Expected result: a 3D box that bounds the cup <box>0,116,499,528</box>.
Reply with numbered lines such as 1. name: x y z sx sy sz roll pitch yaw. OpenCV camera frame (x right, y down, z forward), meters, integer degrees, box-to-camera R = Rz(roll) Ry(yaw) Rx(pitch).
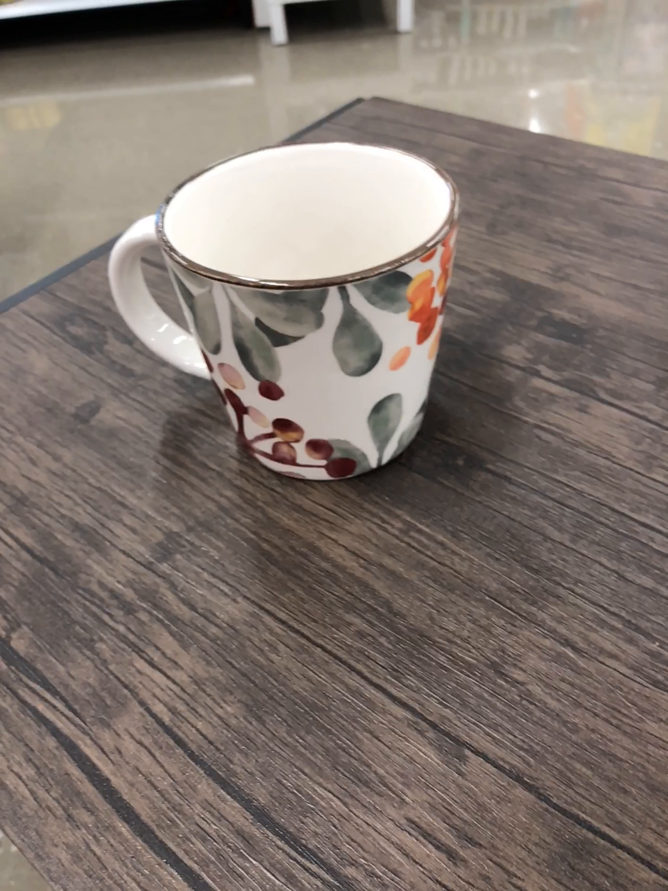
1. cup: -0.021 -0.053 0.300 0.150 0.110 0.100 9 47 15
